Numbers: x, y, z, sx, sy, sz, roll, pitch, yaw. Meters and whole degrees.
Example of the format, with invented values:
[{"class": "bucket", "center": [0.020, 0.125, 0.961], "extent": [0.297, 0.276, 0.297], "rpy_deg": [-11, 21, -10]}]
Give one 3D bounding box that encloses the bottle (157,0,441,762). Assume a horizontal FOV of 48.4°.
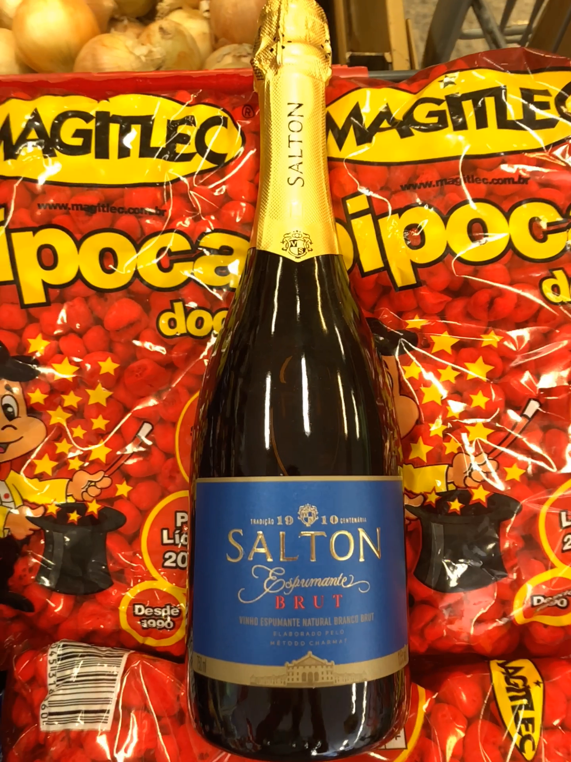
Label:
[{"class": "bottle", "center": [0.004, -0.021, 0.257], "extent": [0.090, 0.080, 0.310], "rpy_deg": [0, 84, -2]}]
